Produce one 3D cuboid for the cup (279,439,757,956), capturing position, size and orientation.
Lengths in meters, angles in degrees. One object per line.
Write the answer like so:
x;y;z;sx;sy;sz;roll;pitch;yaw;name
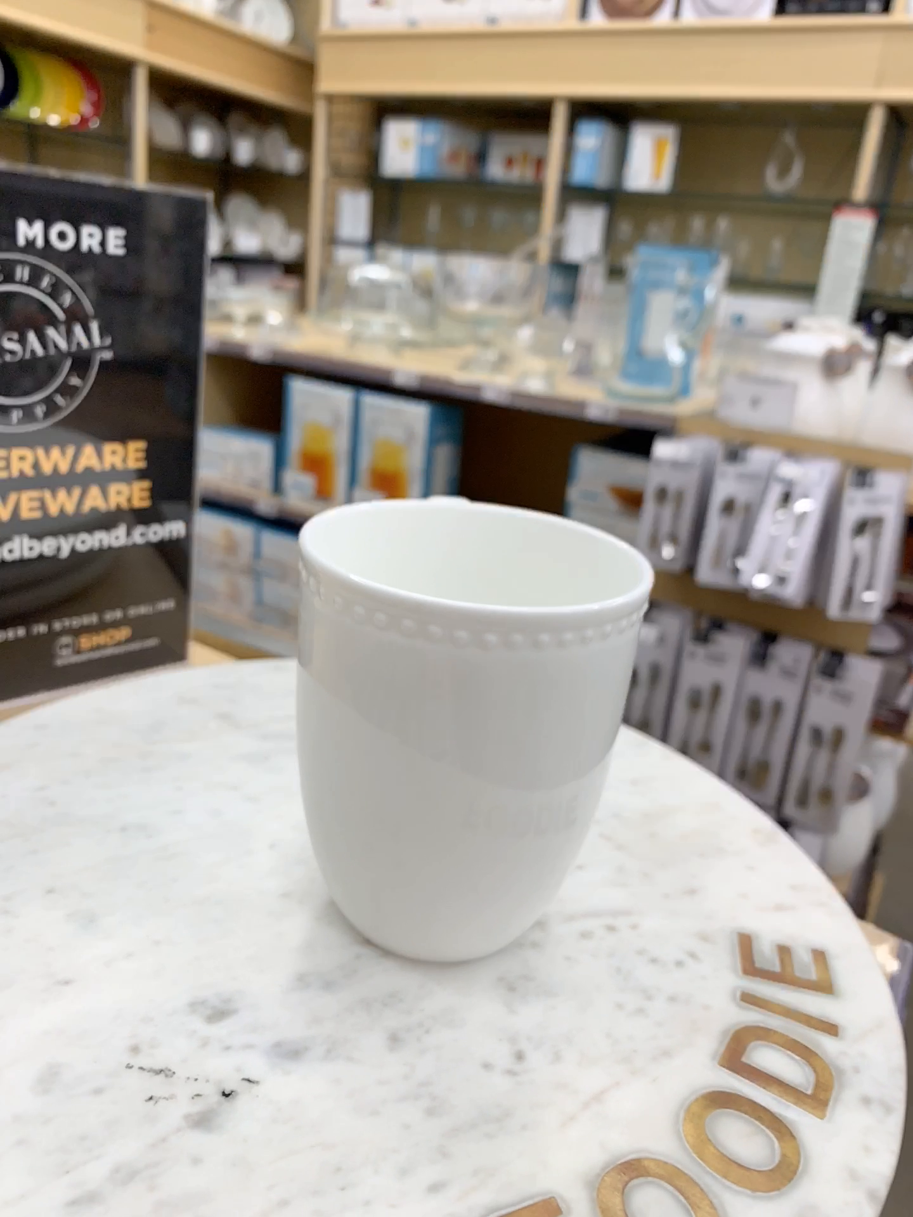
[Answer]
0.002;0.014;0.270;0.096;0.094;0.126;1;20;-12;cup
